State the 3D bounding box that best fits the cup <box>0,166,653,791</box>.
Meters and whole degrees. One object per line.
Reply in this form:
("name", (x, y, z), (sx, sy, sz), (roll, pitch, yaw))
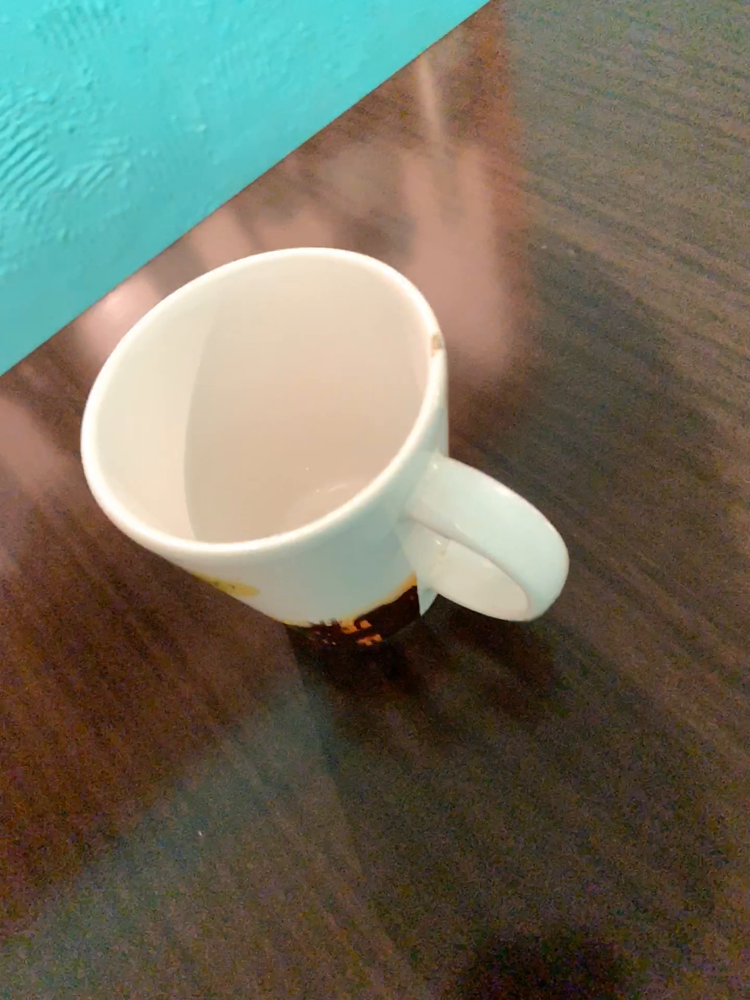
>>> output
("cup", (-0.008, -0.007, 0.185), (0.110, 0.080, 0.090), (22, 68, 25))
